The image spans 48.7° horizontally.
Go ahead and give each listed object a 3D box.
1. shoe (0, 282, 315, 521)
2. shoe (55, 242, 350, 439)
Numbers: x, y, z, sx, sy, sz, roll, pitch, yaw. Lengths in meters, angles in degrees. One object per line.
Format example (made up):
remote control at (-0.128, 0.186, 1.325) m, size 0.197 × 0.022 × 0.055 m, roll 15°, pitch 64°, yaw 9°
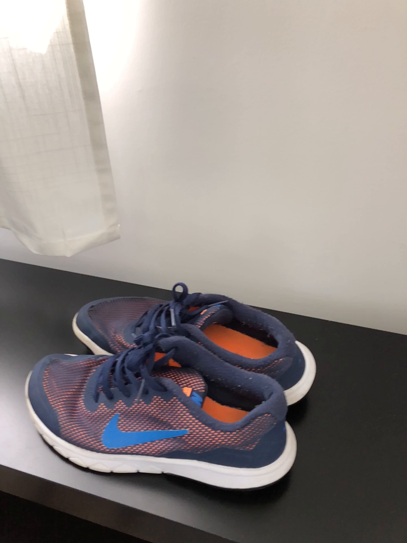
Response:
shoe at (-0.046, 0.100, 0.390) m, size 0.260 × 0.089 × 0.120 m, roll 8°, pitch 37°, yaw 12°
shoe at (-0.001, 0.058, 0.450) m, size 0.260 × 0.089 × 0.100 m, roll 12°, pitch 38°, yaw 17°
